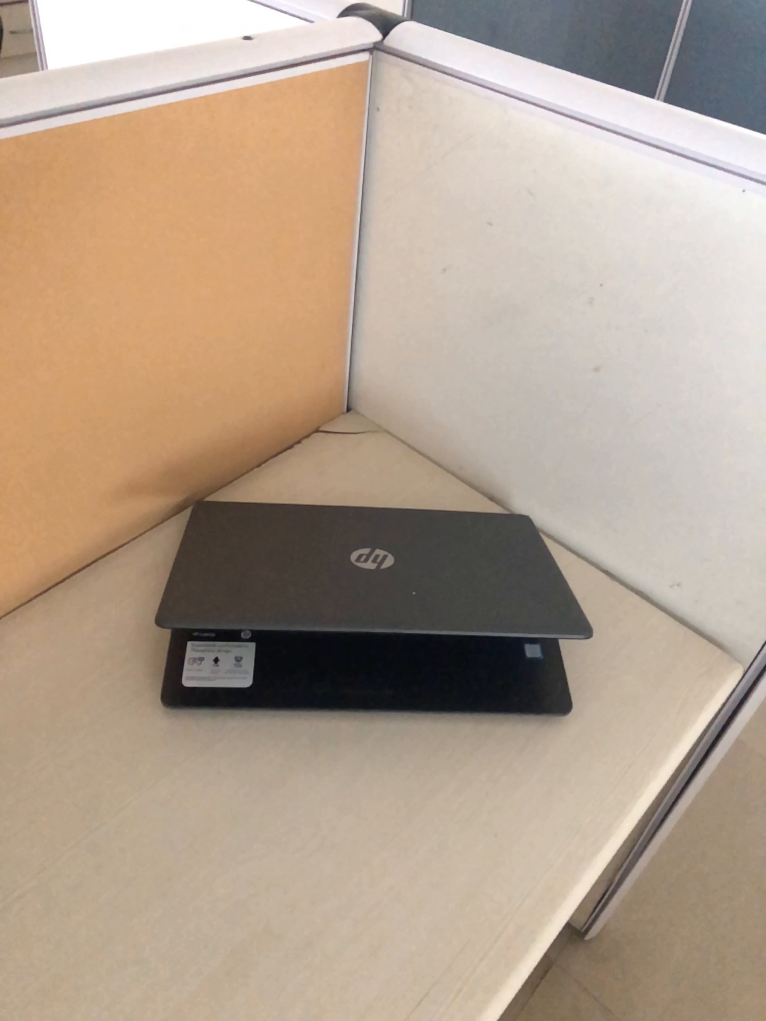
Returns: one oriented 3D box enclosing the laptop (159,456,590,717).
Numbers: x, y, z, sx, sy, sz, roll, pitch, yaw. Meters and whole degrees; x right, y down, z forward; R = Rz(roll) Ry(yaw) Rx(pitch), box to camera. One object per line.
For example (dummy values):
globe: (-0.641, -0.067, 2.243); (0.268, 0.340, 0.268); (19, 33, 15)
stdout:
laptop: (-0.012, 0.067, 0.811); (0.361, 0.074, 0.238); (2, 47, -5)
